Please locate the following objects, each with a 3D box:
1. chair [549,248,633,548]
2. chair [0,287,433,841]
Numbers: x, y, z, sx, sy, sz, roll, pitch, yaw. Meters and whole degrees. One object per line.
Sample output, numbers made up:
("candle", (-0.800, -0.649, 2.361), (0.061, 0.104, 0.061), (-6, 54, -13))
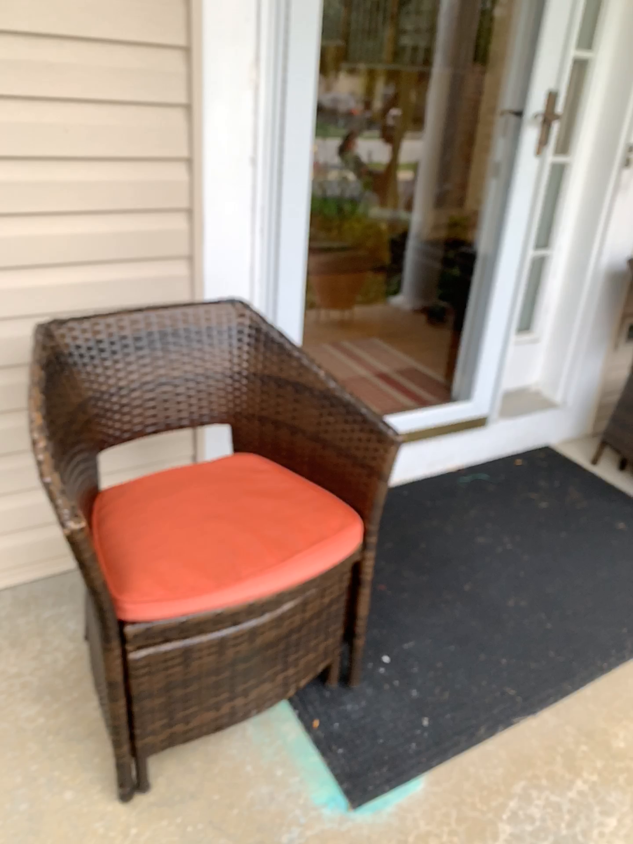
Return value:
("chair", (1.331, -0.130, 2.240), (0.642, 0.758, 0.608), (-9, 29, -26))
("chair", (-0.254, 0.201, 1.378), (0.643, 0.758, 0.607), (-14, 31, -33))
